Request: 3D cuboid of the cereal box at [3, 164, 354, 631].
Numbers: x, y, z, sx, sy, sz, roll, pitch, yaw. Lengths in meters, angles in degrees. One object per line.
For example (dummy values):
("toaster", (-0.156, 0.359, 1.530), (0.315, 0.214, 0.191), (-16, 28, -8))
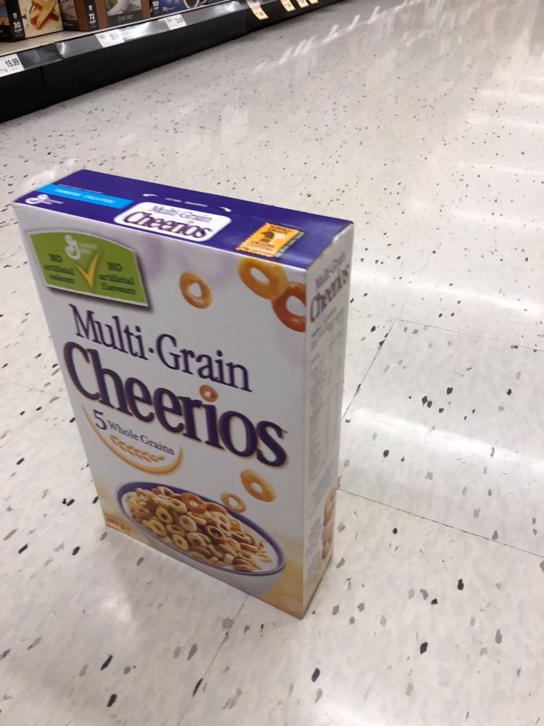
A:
("cereal box", (-0.053, 0.038, 0.418), (0.190, 0.308, 0.060), (17, 40, 22))
